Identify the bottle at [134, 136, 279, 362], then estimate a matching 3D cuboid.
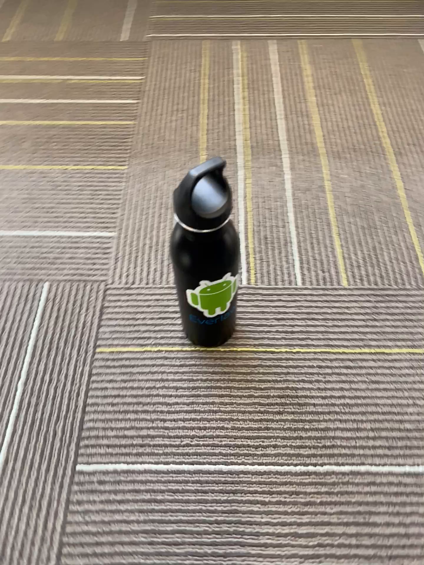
[{"bbox_3d":[-0.006,-0.015,0.439,0.090,0.239,0.080,-18,60,-11],"label":"bottle"}]
